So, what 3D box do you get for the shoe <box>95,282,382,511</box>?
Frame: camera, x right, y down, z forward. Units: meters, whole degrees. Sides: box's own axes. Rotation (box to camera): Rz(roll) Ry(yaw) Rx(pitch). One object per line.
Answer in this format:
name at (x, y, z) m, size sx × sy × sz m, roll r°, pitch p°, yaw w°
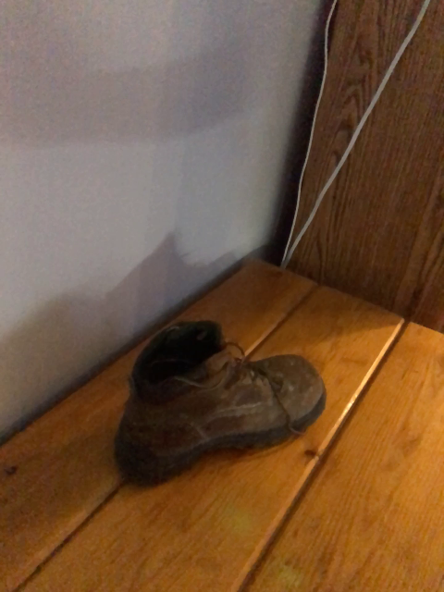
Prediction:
shoe at (0.018, 0.100, 0.570) m, size 0.290 × 0.130 × 0.130 m, roll -14°, pitch 39°, yaw -27°
